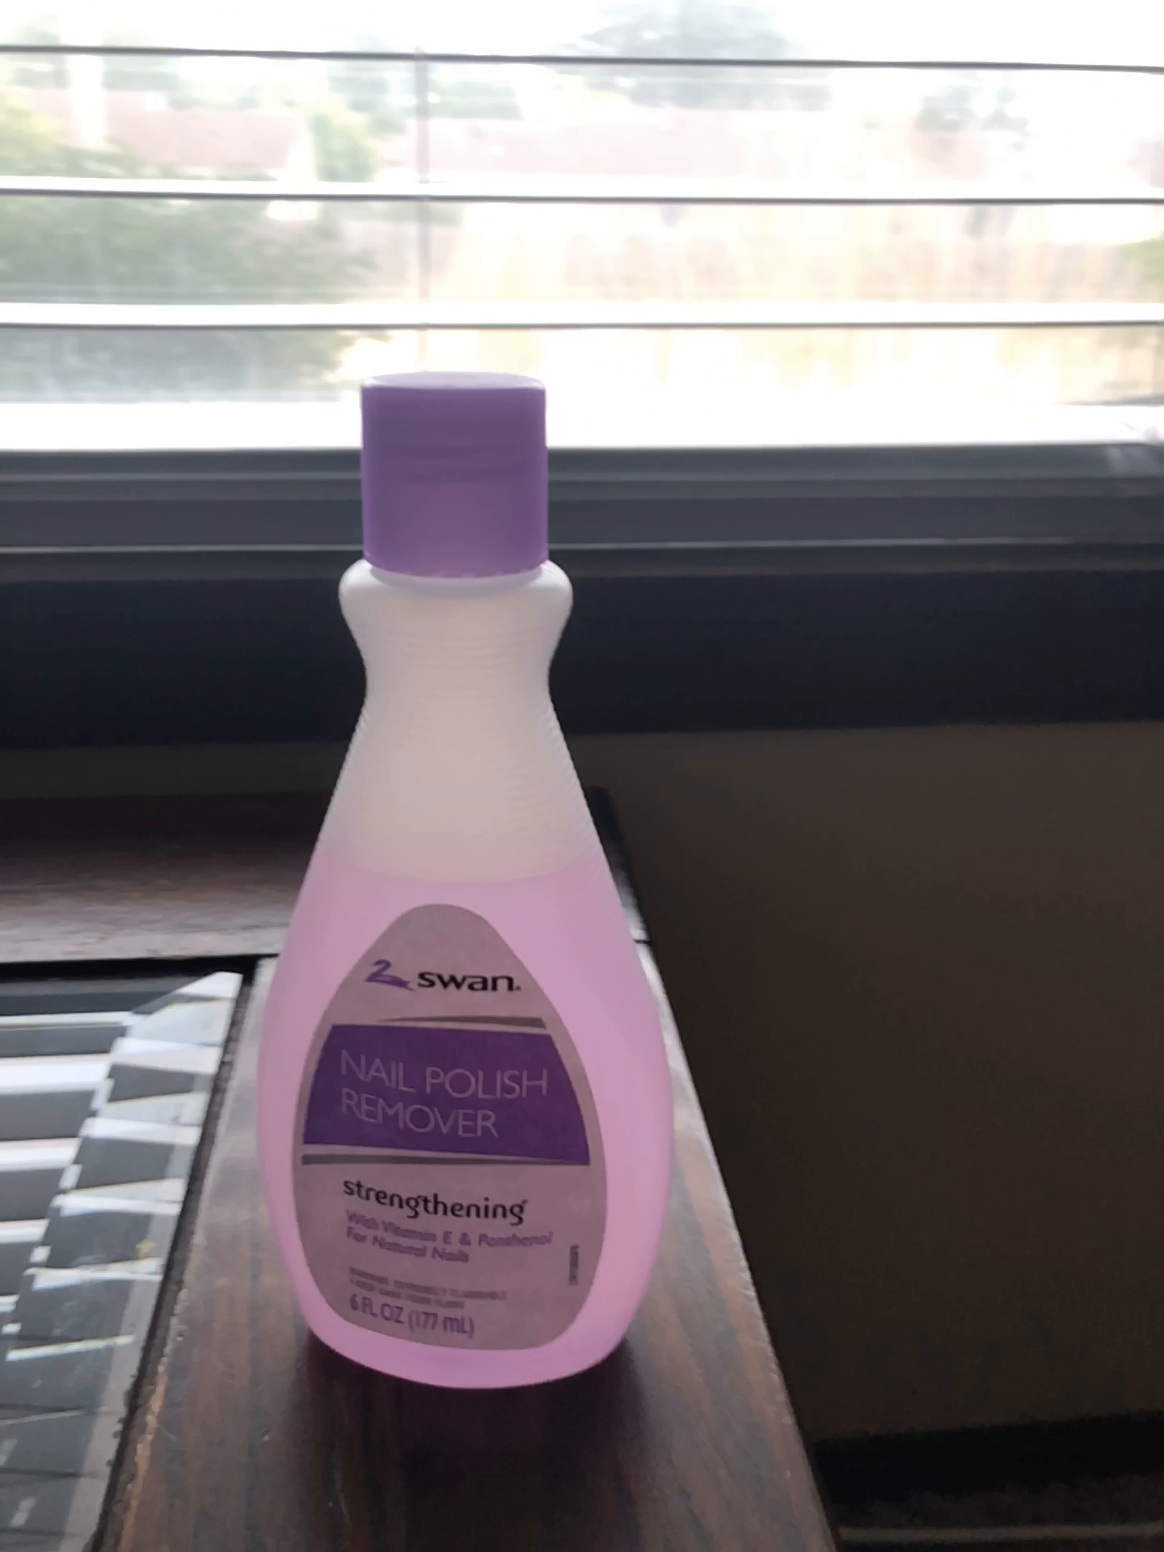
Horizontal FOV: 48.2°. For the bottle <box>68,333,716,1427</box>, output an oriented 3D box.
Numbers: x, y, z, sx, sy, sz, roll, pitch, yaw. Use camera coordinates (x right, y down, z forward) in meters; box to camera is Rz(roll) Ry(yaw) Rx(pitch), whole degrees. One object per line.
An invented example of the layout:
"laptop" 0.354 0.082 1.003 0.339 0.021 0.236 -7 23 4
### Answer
"bottle" -0.022 0.019 0.213 0.080 0.170 0.050 3 22 6
